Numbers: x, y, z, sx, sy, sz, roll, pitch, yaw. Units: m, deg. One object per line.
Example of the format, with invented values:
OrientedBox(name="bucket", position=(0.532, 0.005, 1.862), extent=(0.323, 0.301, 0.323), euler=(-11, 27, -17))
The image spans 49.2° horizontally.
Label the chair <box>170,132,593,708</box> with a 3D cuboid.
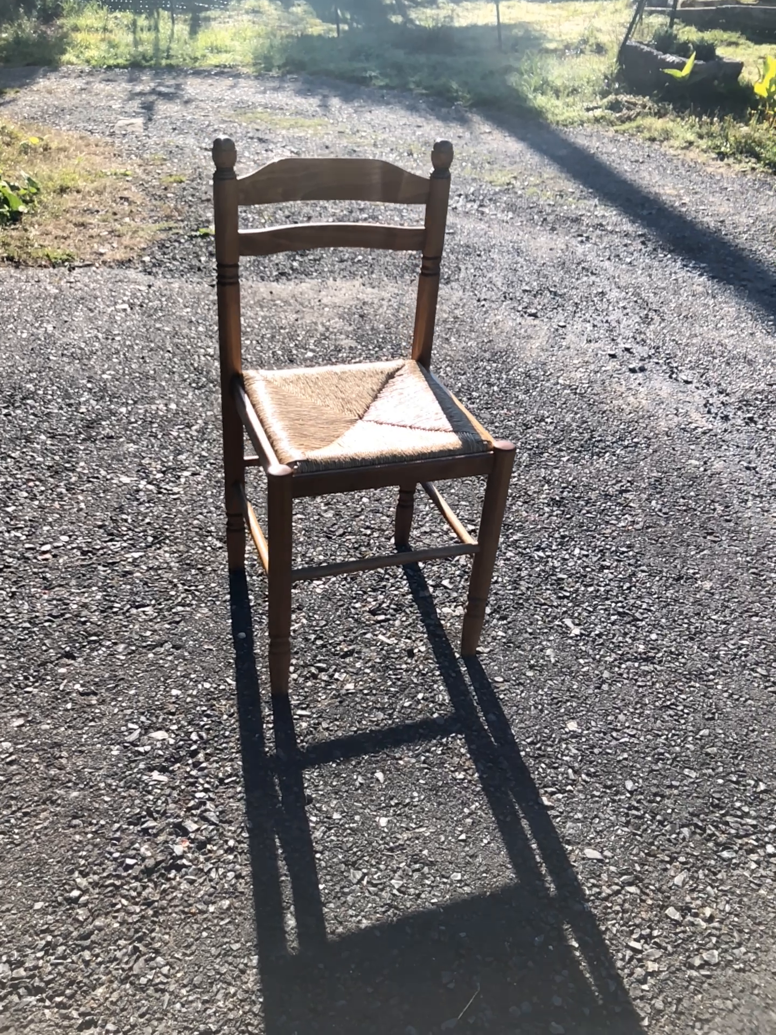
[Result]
OrientedBox(name="chair", position=(-0.056, -0.188, 1.447), extent=(0.491, 0.795, 0.492), euler=(-8, 33, -17))
